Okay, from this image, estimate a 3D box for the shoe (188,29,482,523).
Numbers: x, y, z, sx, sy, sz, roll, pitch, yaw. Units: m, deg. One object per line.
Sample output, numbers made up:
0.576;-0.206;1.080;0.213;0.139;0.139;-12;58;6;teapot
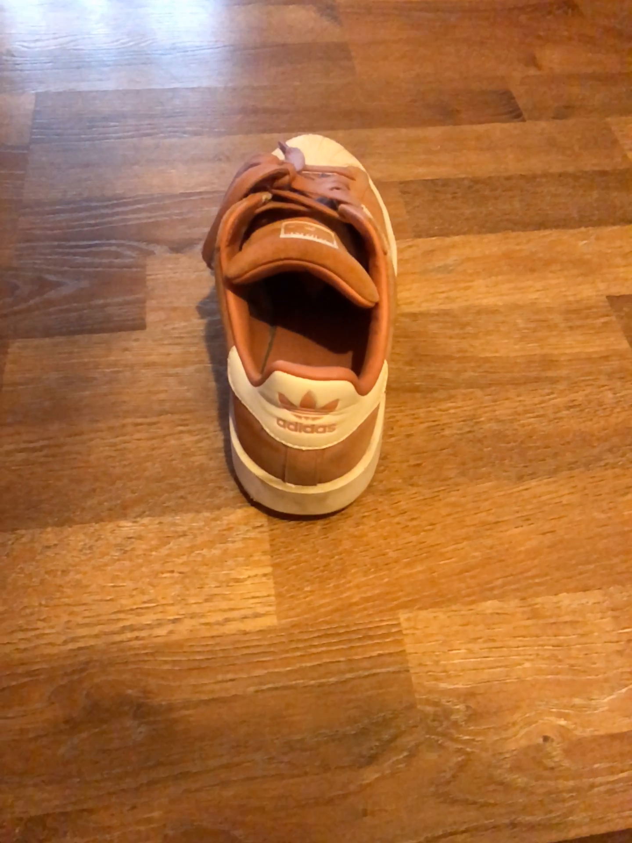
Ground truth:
0.002;-0.088;0.380;0.110;0.109;0.262;0;56;-3;shoe
